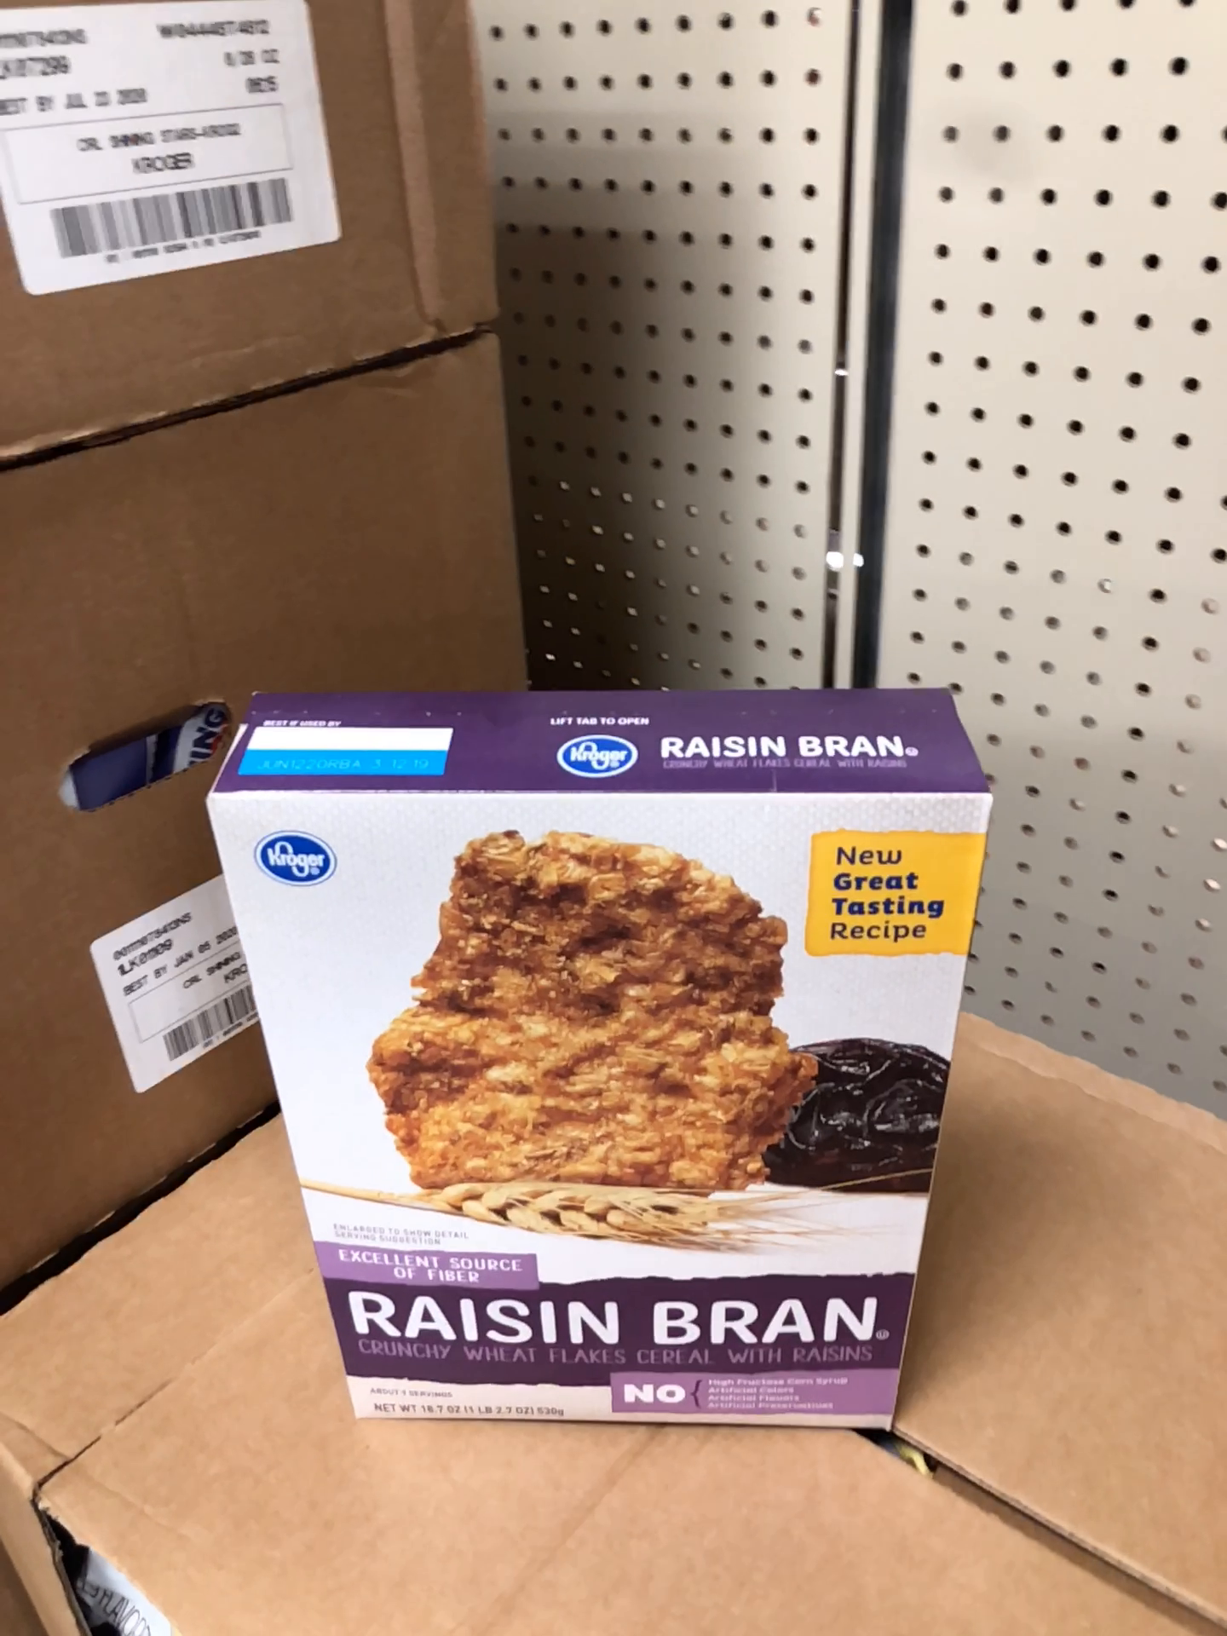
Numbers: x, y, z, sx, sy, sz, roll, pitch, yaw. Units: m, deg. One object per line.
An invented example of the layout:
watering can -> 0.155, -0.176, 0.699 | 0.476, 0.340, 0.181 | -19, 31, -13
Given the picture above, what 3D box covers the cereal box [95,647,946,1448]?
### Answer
cereal box -> -0.013, 0.086, 0.402 | 0.190, 0.279, 0.050 | -1, 37, 5
